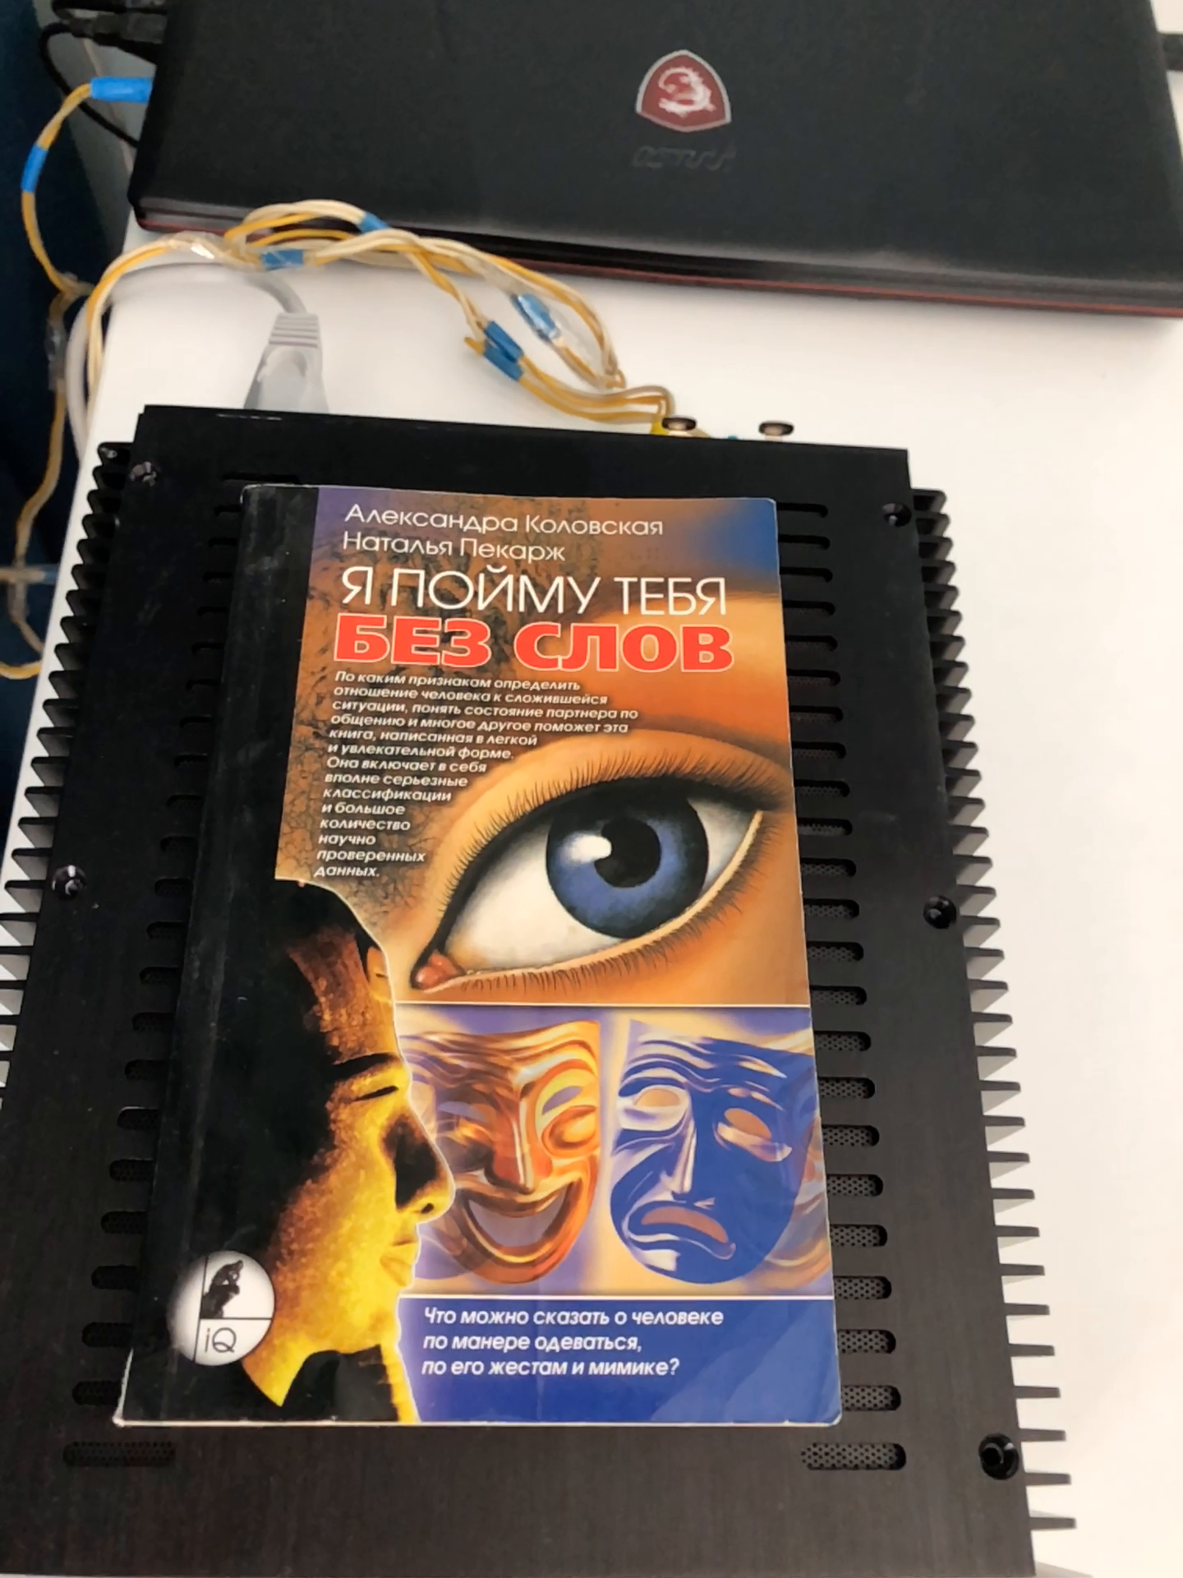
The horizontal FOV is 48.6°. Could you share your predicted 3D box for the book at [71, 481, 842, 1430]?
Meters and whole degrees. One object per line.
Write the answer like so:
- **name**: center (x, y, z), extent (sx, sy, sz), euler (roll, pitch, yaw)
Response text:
- **book**: center (-0.021, 0.023, 0.258), extent (0.123, 0.023, 0.184), euler (2, 65, -3)
